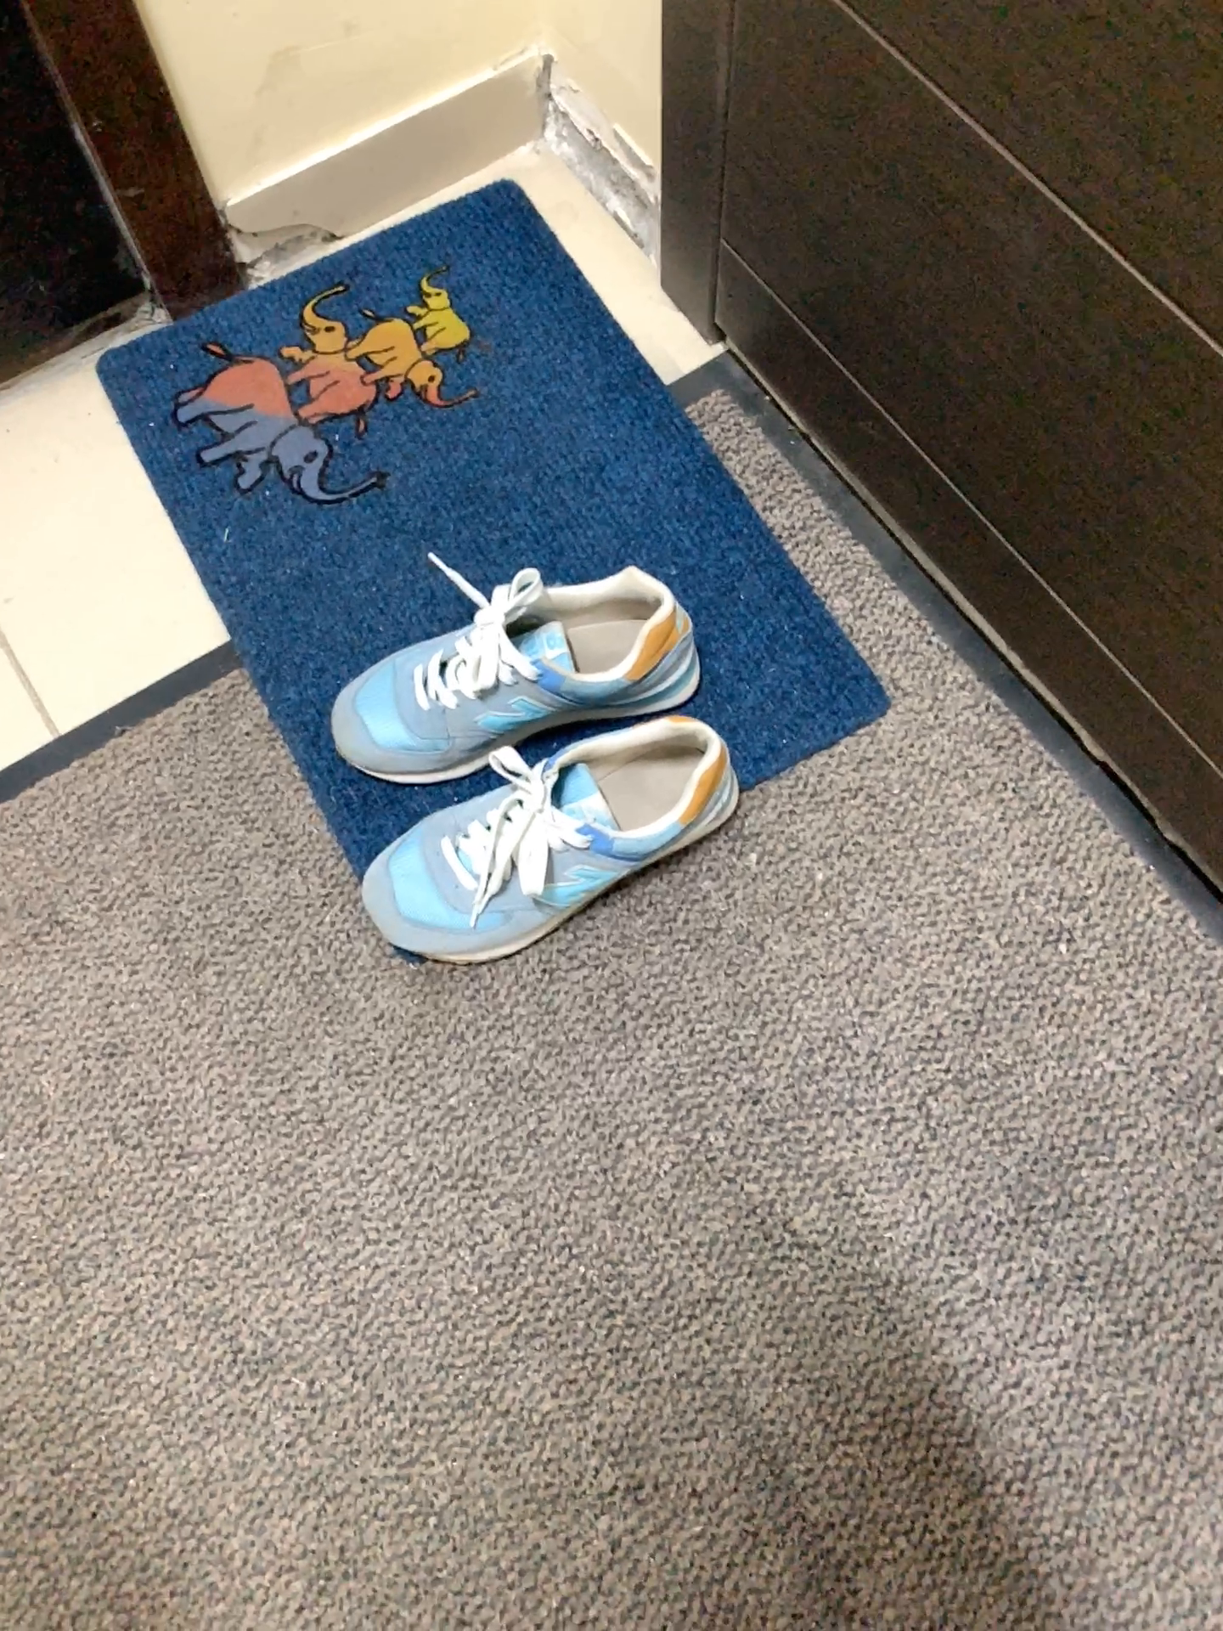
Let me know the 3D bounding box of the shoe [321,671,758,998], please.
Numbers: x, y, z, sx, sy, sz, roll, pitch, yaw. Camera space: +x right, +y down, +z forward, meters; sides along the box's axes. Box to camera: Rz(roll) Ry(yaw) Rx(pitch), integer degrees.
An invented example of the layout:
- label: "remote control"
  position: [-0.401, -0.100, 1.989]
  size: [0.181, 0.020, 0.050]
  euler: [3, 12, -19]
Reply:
- label: "shoe"
  position: [-0.041, 0.015, 0.810]
  size: [0.250, 0.120, 0.090]
  euler: [-21, 67, -6]

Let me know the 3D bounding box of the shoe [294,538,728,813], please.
- label: "shoe"
  position: [-0.063, -0.090, 0.846]
  size: [0.260, 0.140, 0.080]
  euler: [-14, 74, -4]
